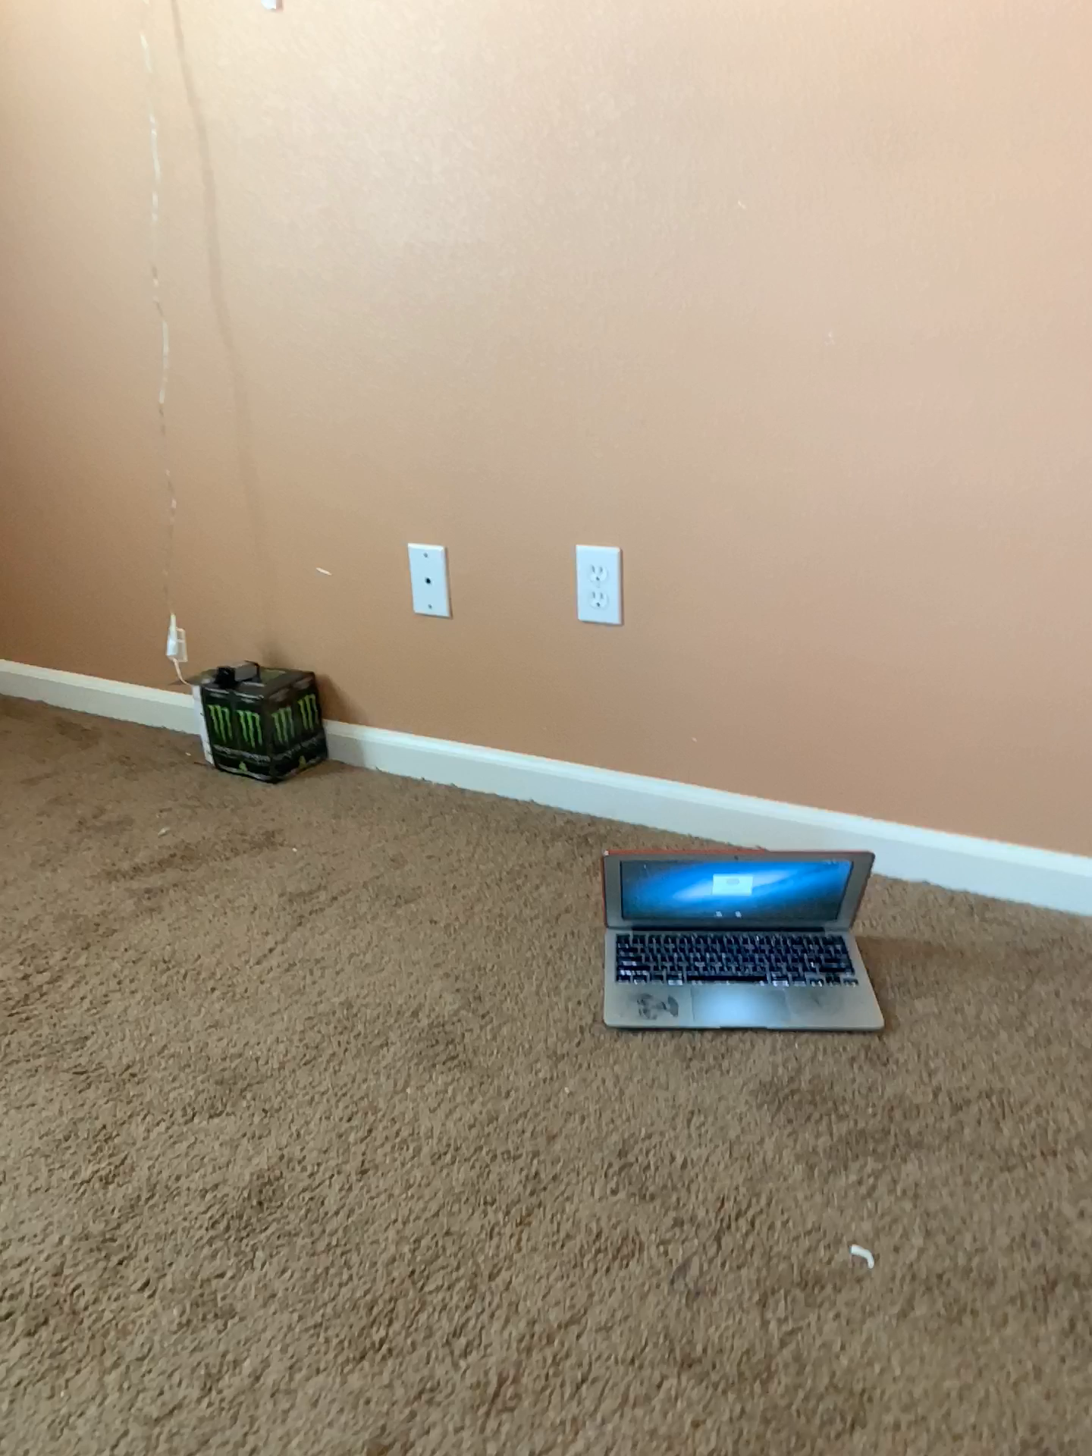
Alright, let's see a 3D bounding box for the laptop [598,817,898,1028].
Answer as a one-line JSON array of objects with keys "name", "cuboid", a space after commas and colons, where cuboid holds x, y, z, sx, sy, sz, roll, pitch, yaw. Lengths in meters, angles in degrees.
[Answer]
[{"name": "laptop", "cuboid": [0.209, 0.209, 1.232, 0.298, 0.148, 0.194, -1, 21, 4]}]
